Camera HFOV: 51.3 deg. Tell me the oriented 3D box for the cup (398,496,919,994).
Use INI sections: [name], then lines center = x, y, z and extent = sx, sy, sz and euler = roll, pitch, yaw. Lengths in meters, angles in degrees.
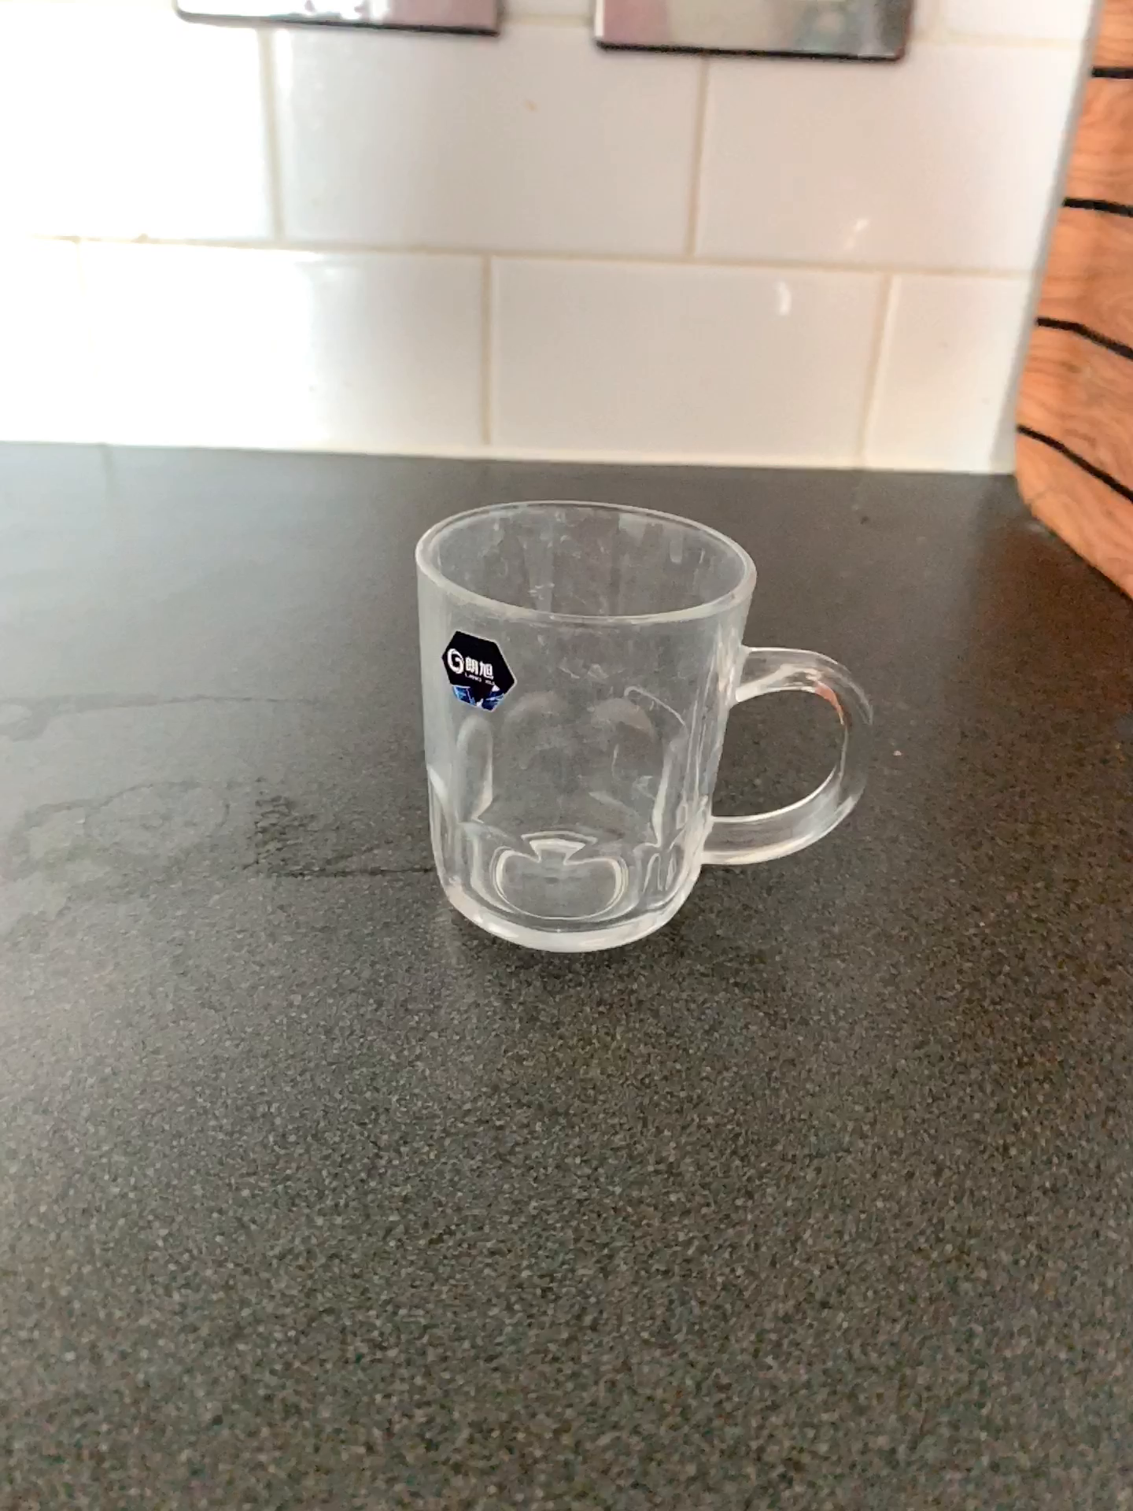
[cup]
center = 0.013, -0.006, 0.277
extent = 0.100, 0.090, 0.071
euler = -2, 29, -9
